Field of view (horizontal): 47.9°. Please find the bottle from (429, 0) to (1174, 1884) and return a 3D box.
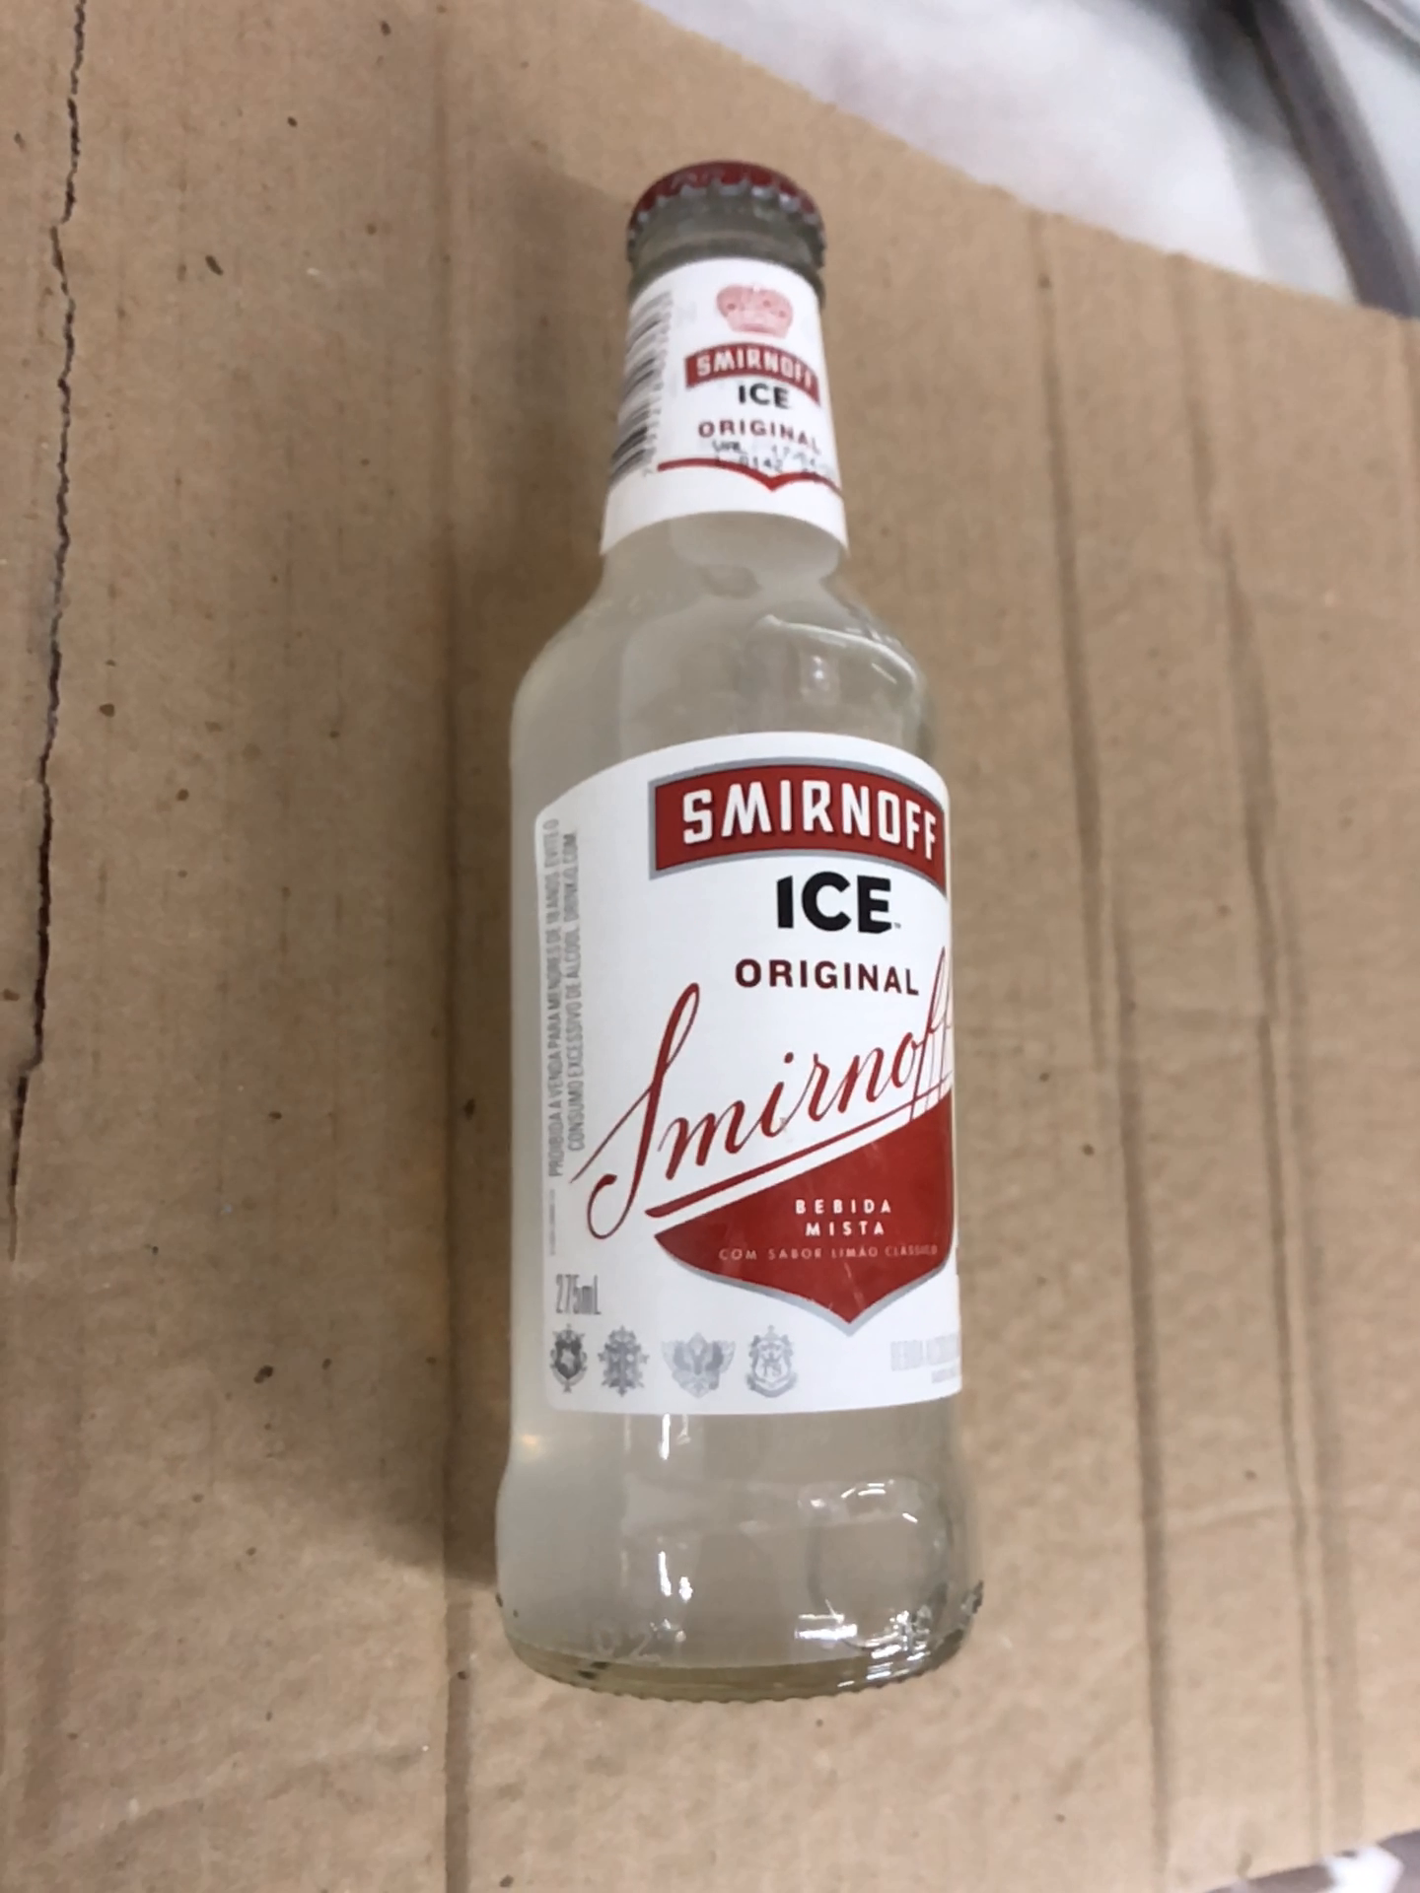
[{"bbox_3d":[0.010,-0.014,0.200,0.070,0.050,0.210,6,79,-37],"label":"bottle"}]
